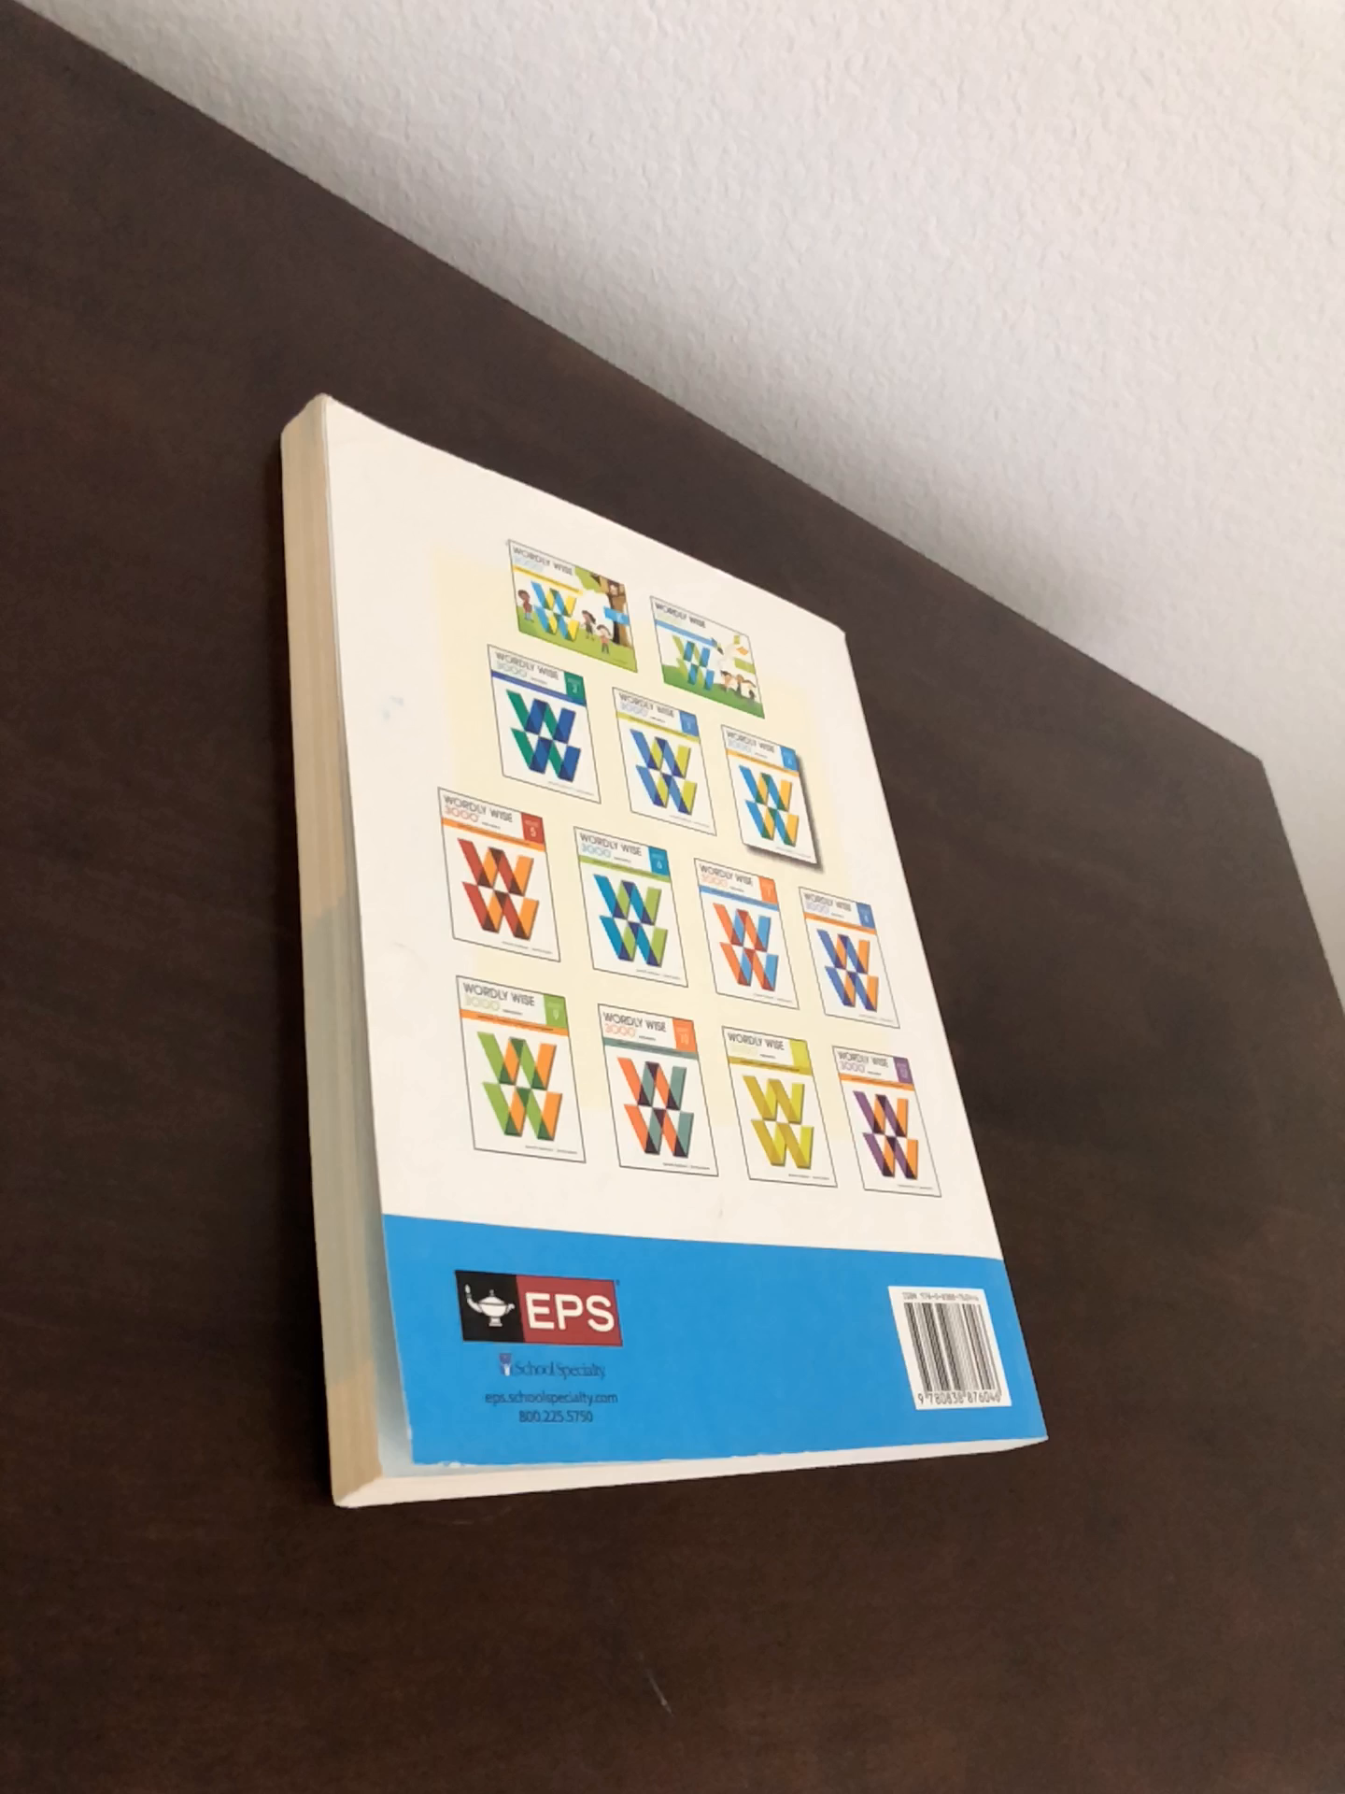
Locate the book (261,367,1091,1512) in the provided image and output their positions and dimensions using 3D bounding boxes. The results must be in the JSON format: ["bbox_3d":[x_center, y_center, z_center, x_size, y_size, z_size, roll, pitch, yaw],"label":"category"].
[{"bbox_3d":[0.001,0.011,0.402,0.221,0.031,0.271,14,56,-38],"label":"book"}]
